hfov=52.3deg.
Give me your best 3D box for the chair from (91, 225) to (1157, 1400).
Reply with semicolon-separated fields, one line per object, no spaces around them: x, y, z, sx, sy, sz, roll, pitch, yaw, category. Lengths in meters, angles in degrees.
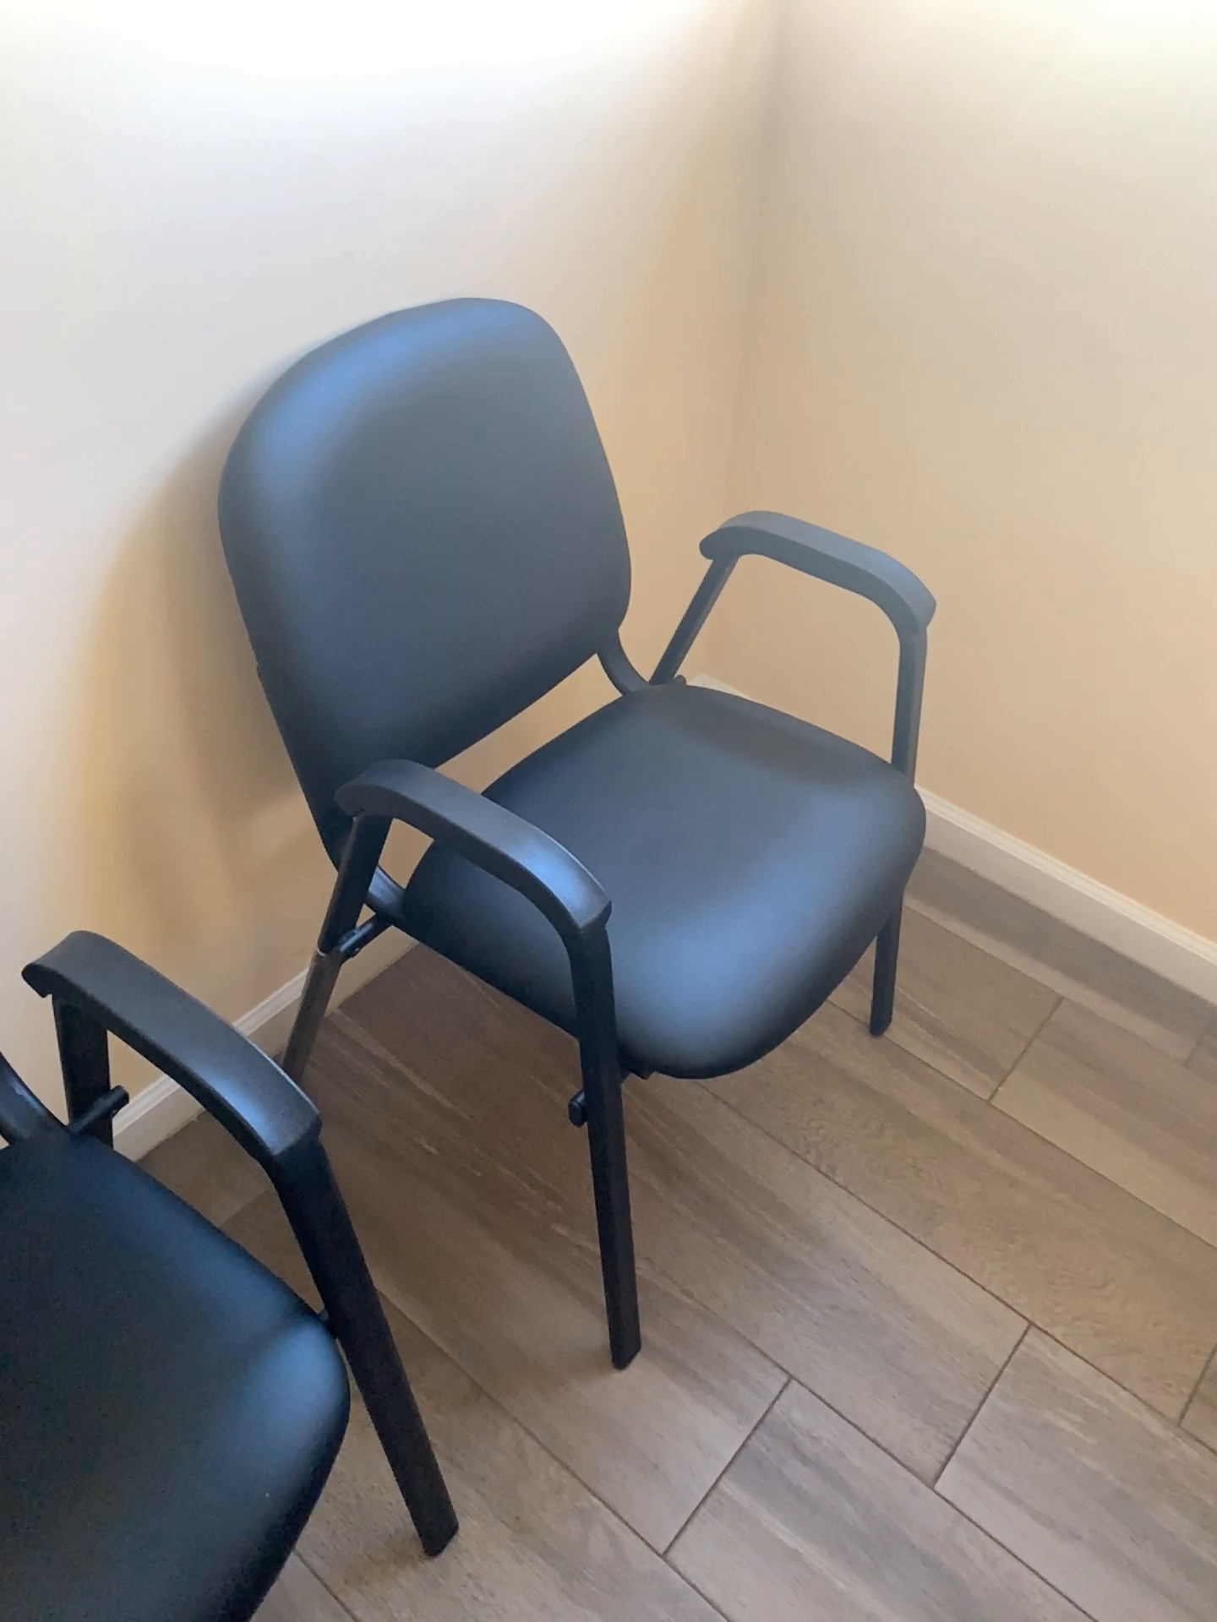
0.018;-0.011;1.280;0.589;0.847;0.637;30;49;25;chair
